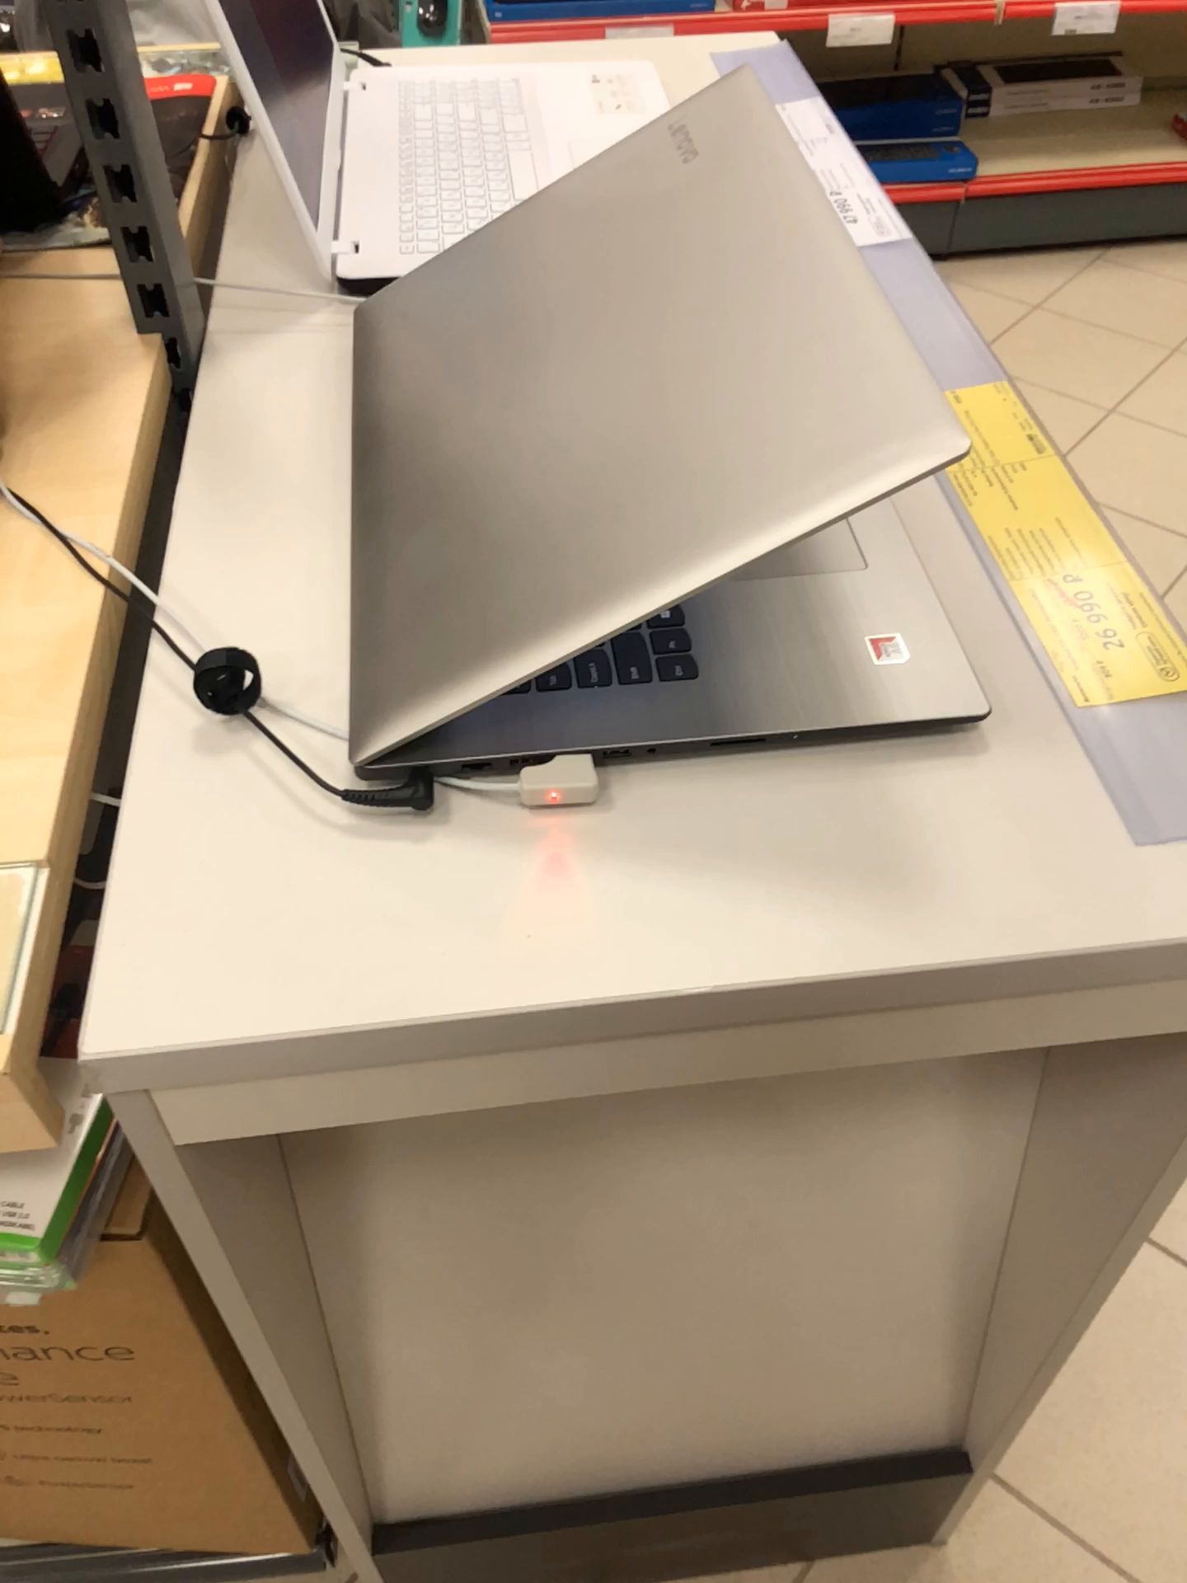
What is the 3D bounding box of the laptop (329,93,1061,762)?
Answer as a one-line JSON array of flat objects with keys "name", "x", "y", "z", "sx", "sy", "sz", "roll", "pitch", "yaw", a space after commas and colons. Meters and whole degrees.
[{"name": "laptop", "x": 0.018, "y": -0.214, "z": 0.667, "sx": 0.276, "sy": 0.129, "sz": 0.400, "roll": -5, "pitch": 46, "yaw": -5}]
